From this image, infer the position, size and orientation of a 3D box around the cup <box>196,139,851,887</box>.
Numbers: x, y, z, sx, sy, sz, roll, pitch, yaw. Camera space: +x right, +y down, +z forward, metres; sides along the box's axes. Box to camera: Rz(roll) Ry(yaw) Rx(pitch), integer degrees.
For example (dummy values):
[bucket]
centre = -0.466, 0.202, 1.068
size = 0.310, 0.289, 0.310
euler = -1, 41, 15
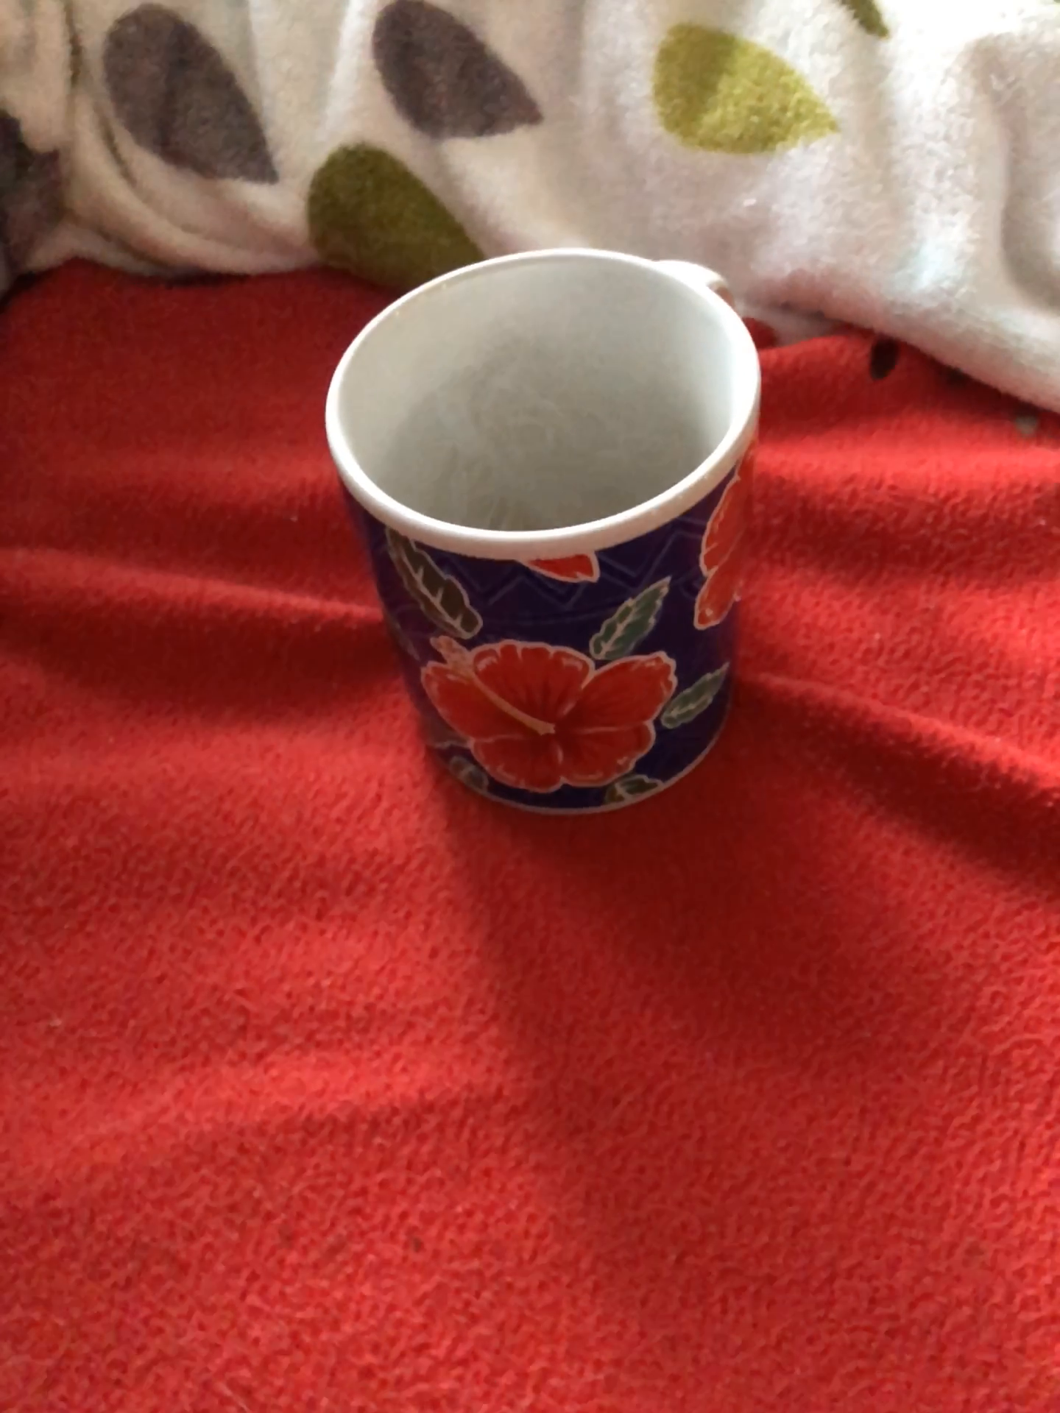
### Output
[cup]
centre = 0.009, -0.047, 0.267
size = 0.090, 0.100, 0.121
euler = 14, 54, 18
